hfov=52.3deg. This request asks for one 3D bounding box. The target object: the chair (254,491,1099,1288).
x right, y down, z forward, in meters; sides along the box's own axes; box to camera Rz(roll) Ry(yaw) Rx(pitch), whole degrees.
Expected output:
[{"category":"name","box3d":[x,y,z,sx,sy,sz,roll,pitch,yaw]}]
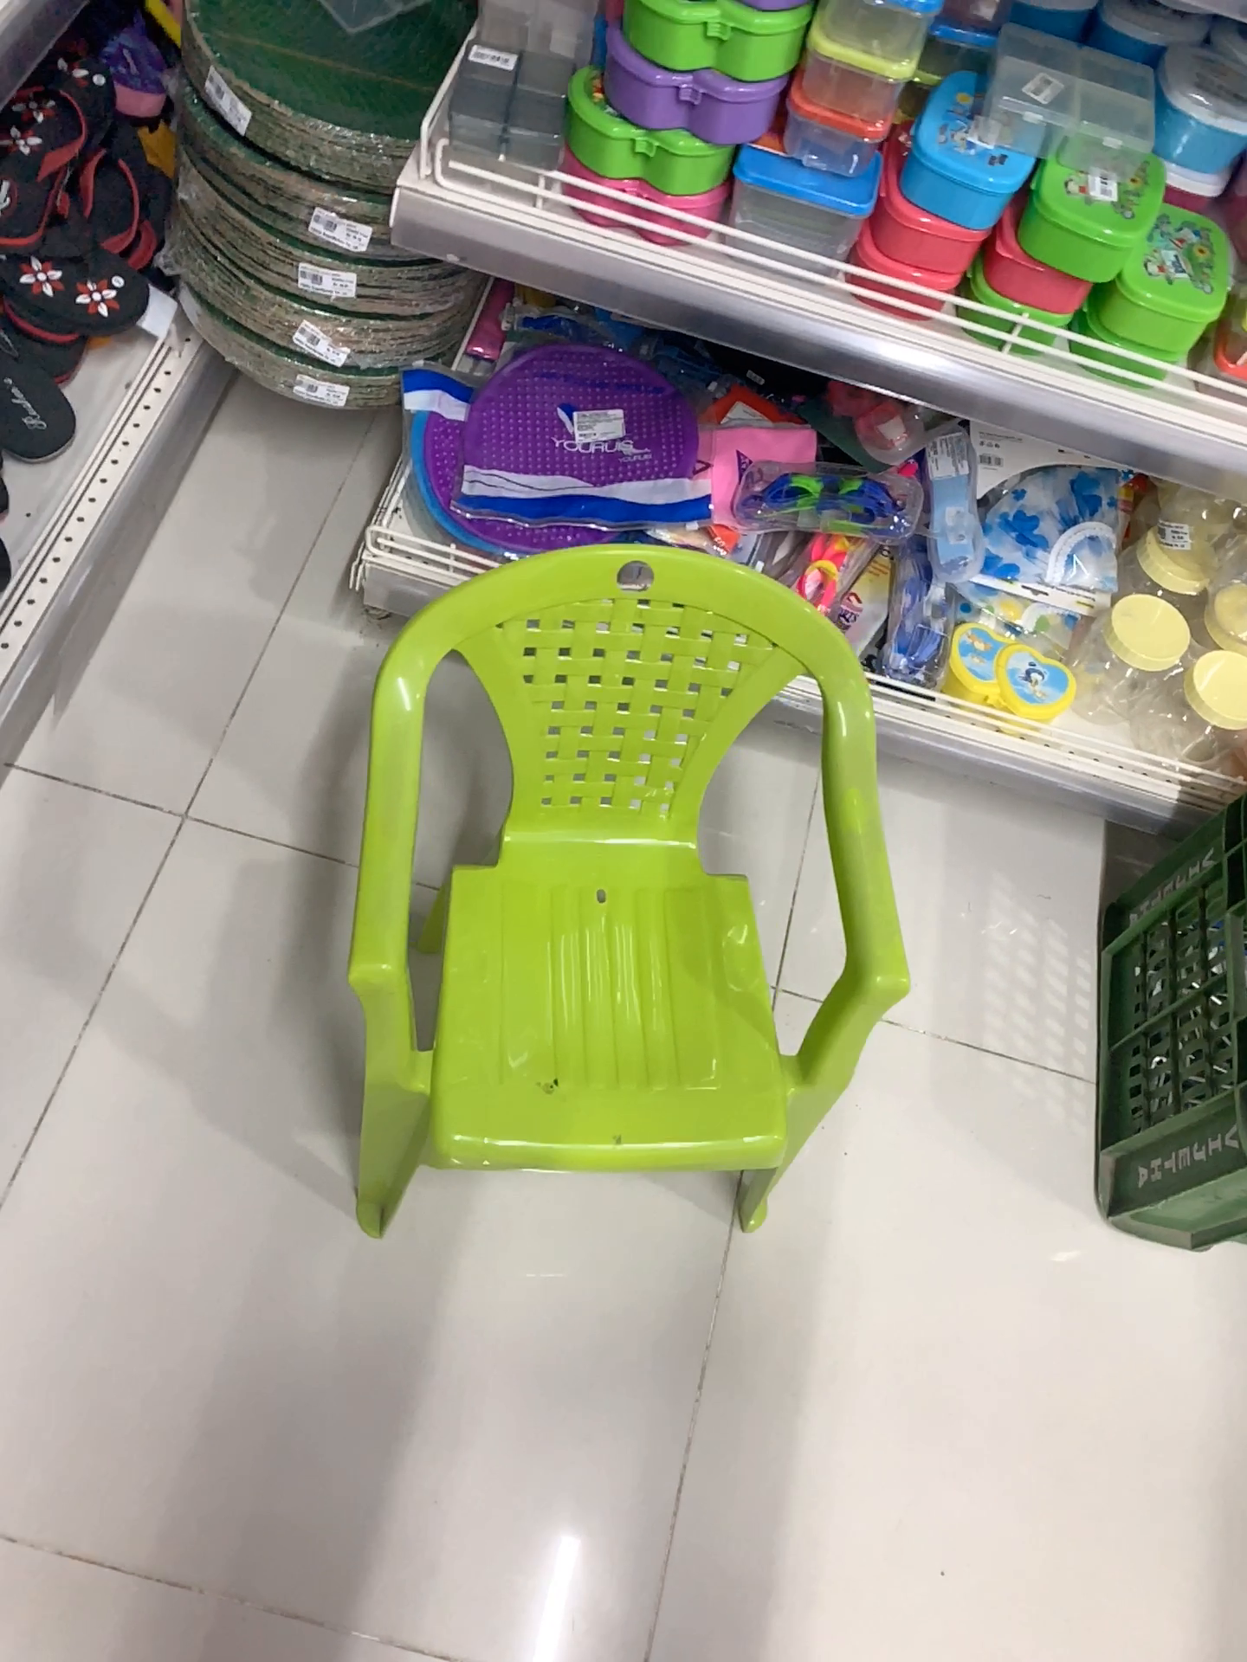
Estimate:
[{"category":"chair","box3d":[-0.004,0.088,0.864,0.390,0.469,0.360,4,63,-8]}]
